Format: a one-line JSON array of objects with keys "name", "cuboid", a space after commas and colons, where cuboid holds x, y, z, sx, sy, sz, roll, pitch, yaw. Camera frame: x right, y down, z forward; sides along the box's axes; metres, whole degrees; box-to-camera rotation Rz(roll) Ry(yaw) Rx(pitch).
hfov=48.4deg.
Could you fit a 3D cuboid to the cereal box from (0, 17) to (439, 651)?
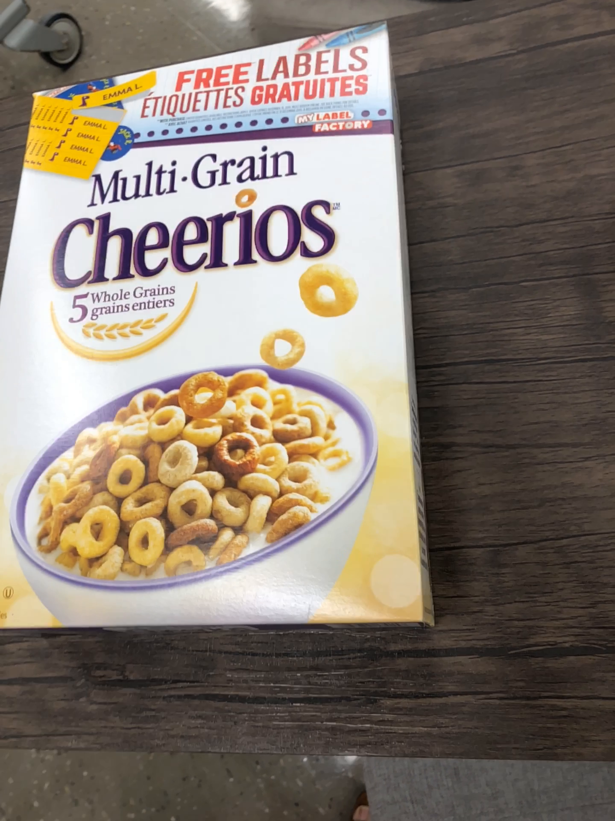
[{"name": "cereal box", "cuboid": [-0.063, -0.046, 0.389, 0.250, 0.070, 0.340, -4, 68, 13]}]
